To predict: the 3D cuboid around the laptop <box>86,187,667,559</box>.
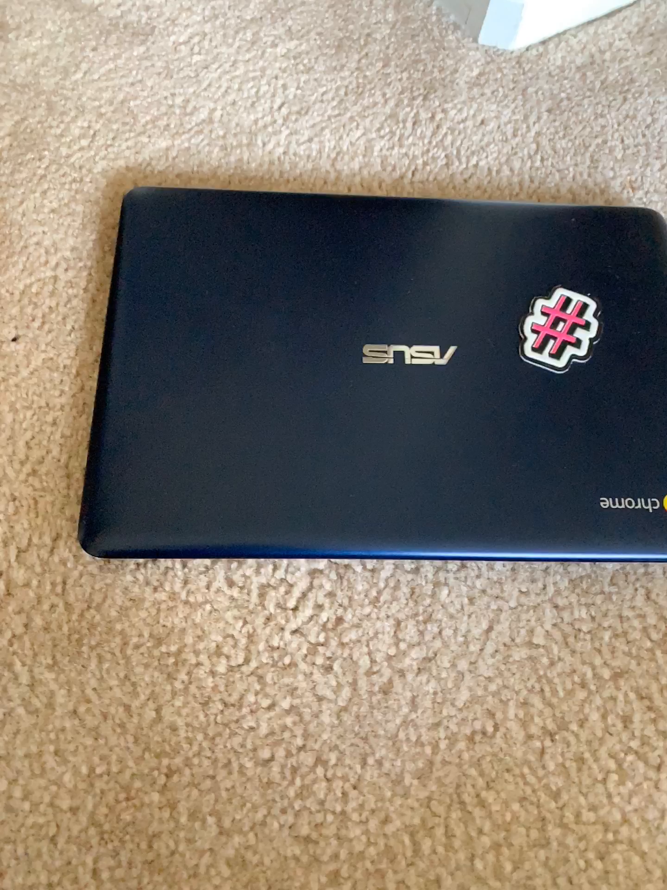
[{"bbox_3d":[0.034,-0.039,0.323,0.271,0.006,0.182,1,69,-4],"label":"laptop"}]
